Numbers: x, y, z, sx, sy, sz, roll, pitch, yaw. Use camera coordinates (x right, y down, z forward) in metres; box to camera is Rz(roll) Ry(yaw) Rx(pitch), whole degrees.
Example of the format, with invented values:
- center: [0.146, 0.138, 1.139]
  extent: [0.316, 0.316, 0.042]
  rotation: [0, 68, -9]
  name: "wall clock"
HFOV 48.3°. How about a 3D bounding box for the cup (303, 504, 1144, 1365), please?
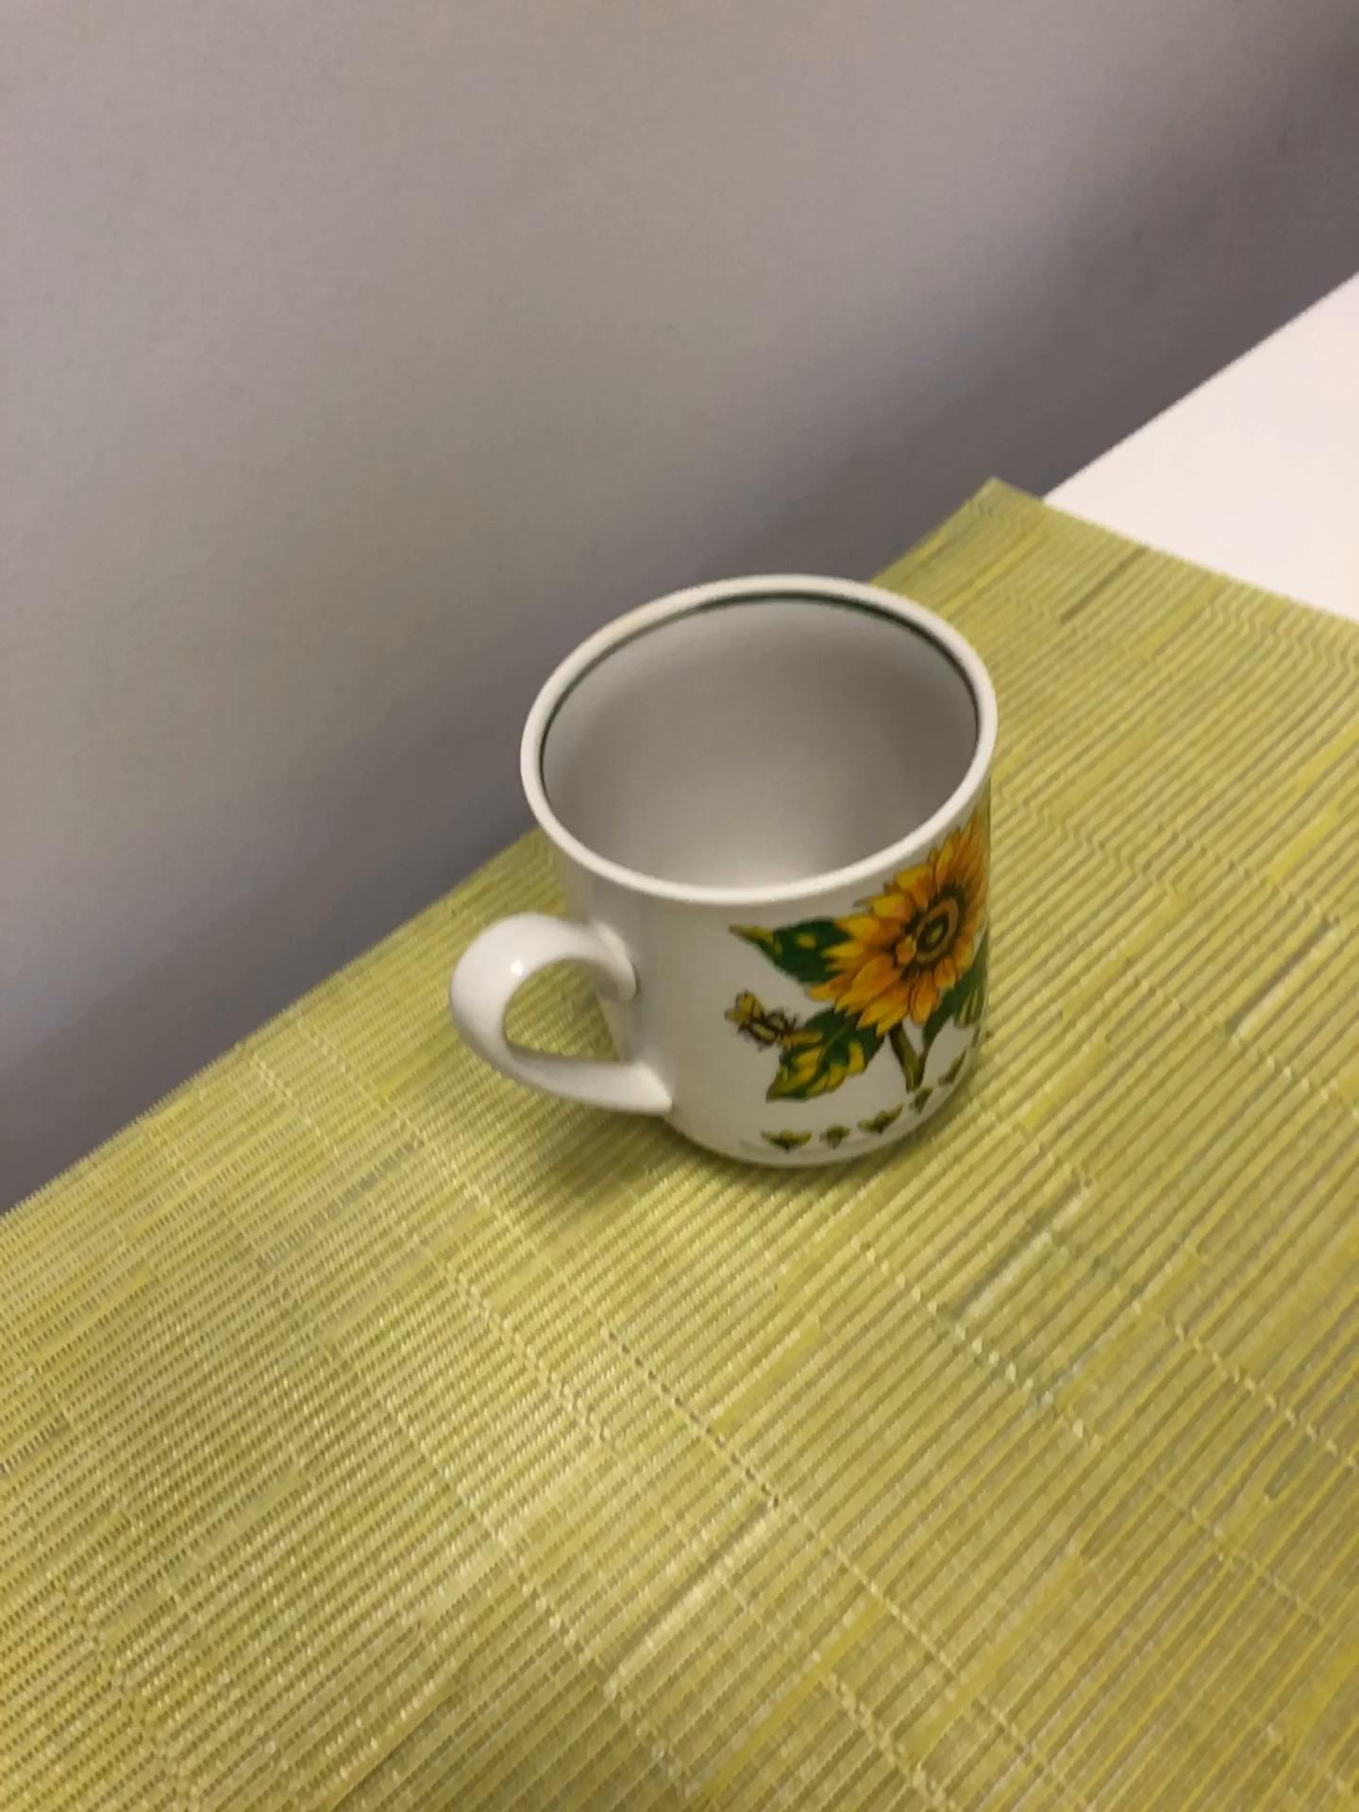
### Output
- center: [0.012, 0.001, 0.289]
  extent: [0.116, 0.084, 0.088]
  rotation: [-34, 49, -19]
  name: "cup"
